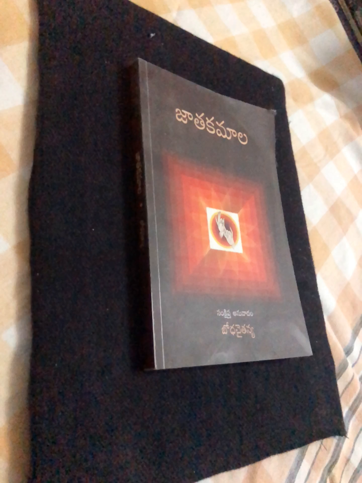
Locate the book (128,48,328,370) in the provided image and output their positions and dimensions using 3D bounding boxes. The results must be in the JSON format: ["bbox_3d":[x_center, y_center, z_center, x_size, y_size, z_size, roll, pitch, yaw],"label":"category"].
[{"bbox_3d":[0.034,-0.023,0.291,0.141,0.020,0.210,5,72,-31],"label":"book"}]
